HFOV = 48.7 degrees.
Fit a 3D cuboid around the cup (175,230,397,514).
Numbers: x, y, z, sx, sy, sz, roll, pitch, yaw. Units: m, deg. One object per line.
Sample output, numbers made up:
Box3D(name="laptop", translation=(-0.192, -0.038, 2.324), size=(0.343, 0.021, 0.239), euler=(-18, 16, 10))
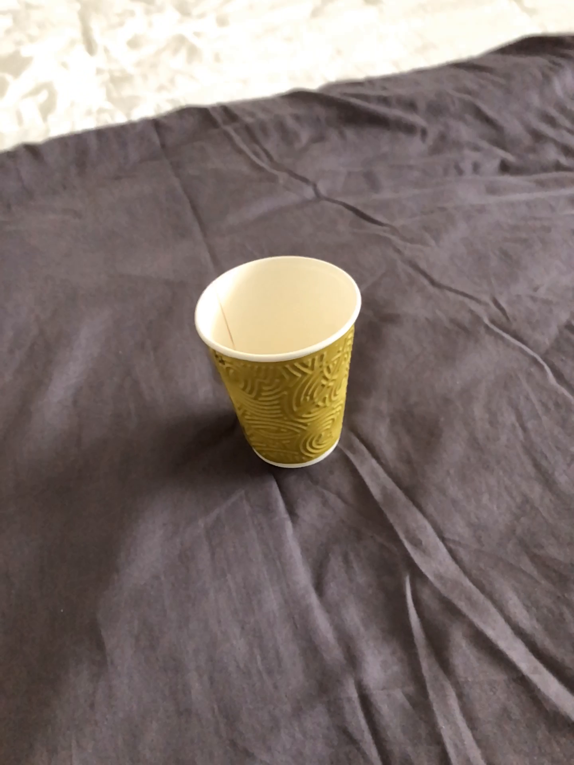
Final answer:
Box3D(name="cup", translation=(-0.002, -0.008, 0.366), size=(0.098, 0.100, 0.108), euler=(-4, 44, 4))
